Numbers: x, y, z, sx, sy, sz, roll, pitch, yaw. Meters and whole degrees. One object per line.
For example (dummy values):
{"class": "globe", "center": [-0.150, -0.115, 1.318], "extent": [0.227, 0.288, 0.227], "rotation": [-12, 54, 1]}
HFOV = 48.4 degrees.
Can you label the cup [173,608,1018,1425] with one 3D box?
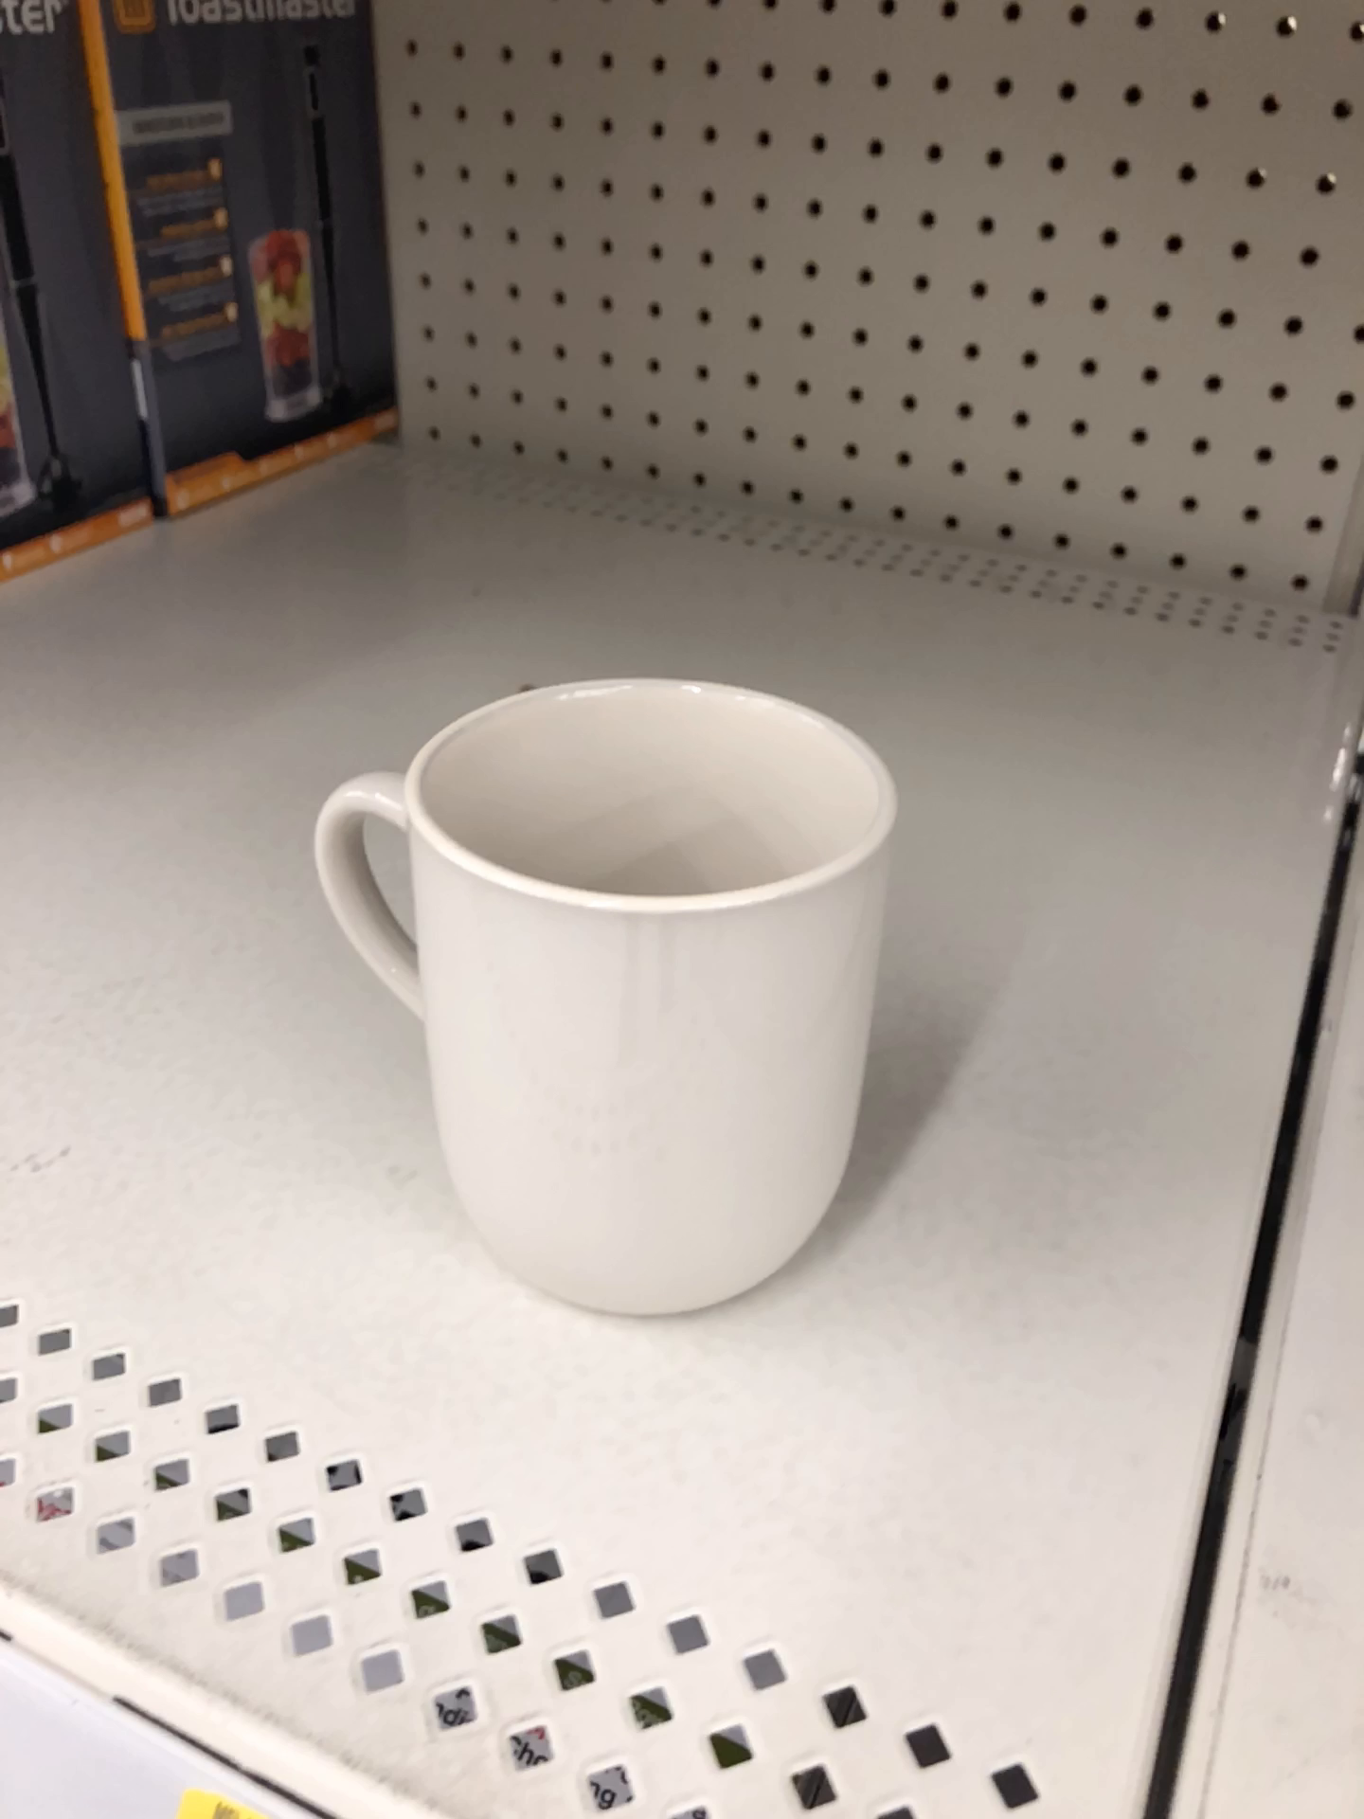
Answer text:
{"class": "cup", "center": [-0.016, 0.011, 0.290], "extent": [0.121, 0.090, 0.087], "rotation": [20, 34, 27]}
